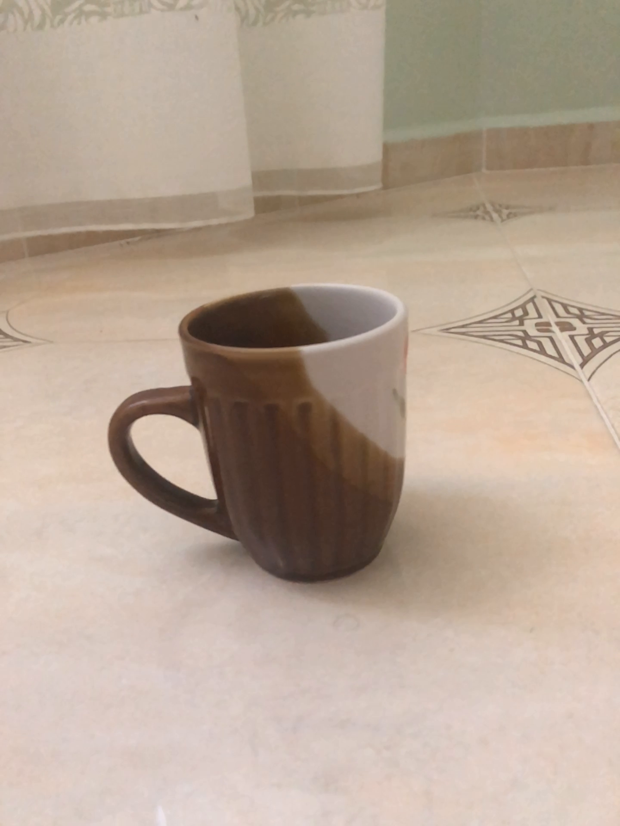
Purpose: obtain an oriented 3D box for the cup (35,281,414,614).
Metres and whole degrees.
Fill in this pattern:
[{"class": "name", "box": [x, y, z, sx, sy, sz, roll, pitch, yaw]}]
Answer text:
[{"class": "cup", "box": [-0.019, 0.007, 0.240, 0.103, 0.086, 0.076, 0, 24, 12]}]
